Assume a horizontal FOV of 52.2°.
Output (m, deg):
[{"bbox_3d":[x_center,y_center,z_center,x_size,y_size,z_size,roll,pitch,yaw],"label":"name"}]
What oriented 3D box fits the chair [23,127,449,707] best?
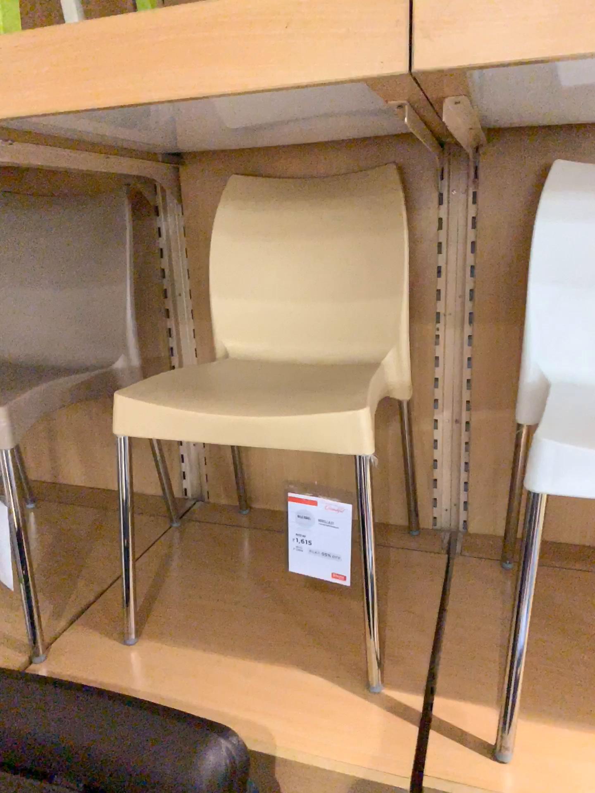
[{"bbox_3d":[-0.033,-0.023,1.147,0.540,0.807,0.592,5,17,16],"label":"chair"}]
